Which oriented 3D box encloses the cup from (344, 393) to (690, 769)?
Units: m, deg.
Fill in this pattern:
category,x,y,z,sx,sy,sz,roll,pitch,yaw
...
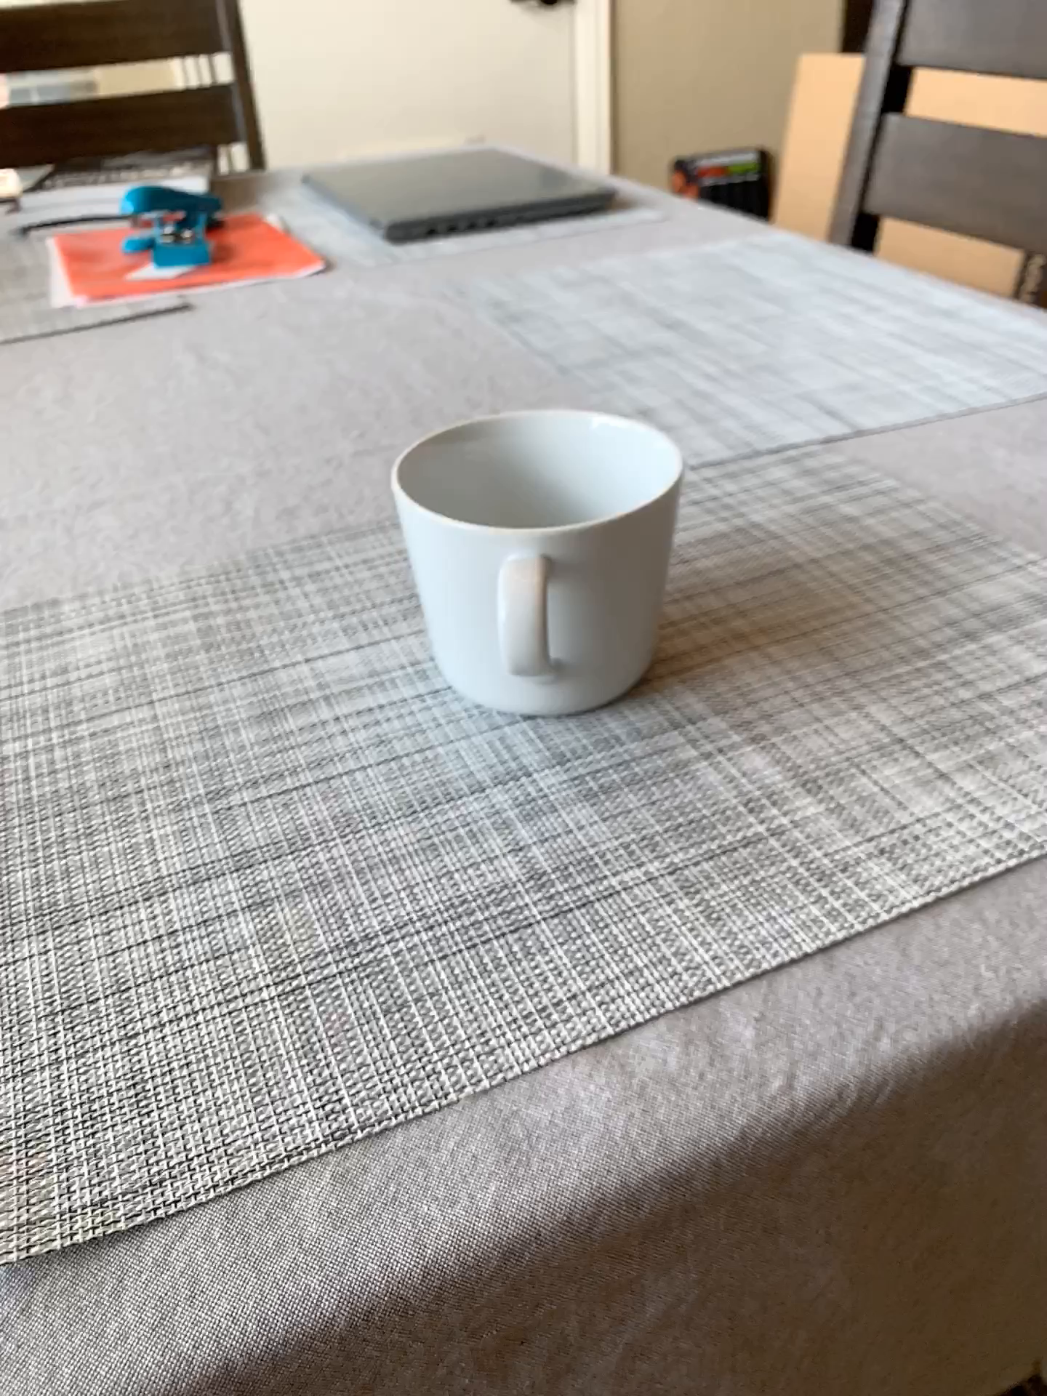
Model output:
category,x,y,z,sx,sy,sz,roll,pitch,yaw
cup,0.001,-0.046,0.386,0.100,0.081,0.122,-2,34,3
